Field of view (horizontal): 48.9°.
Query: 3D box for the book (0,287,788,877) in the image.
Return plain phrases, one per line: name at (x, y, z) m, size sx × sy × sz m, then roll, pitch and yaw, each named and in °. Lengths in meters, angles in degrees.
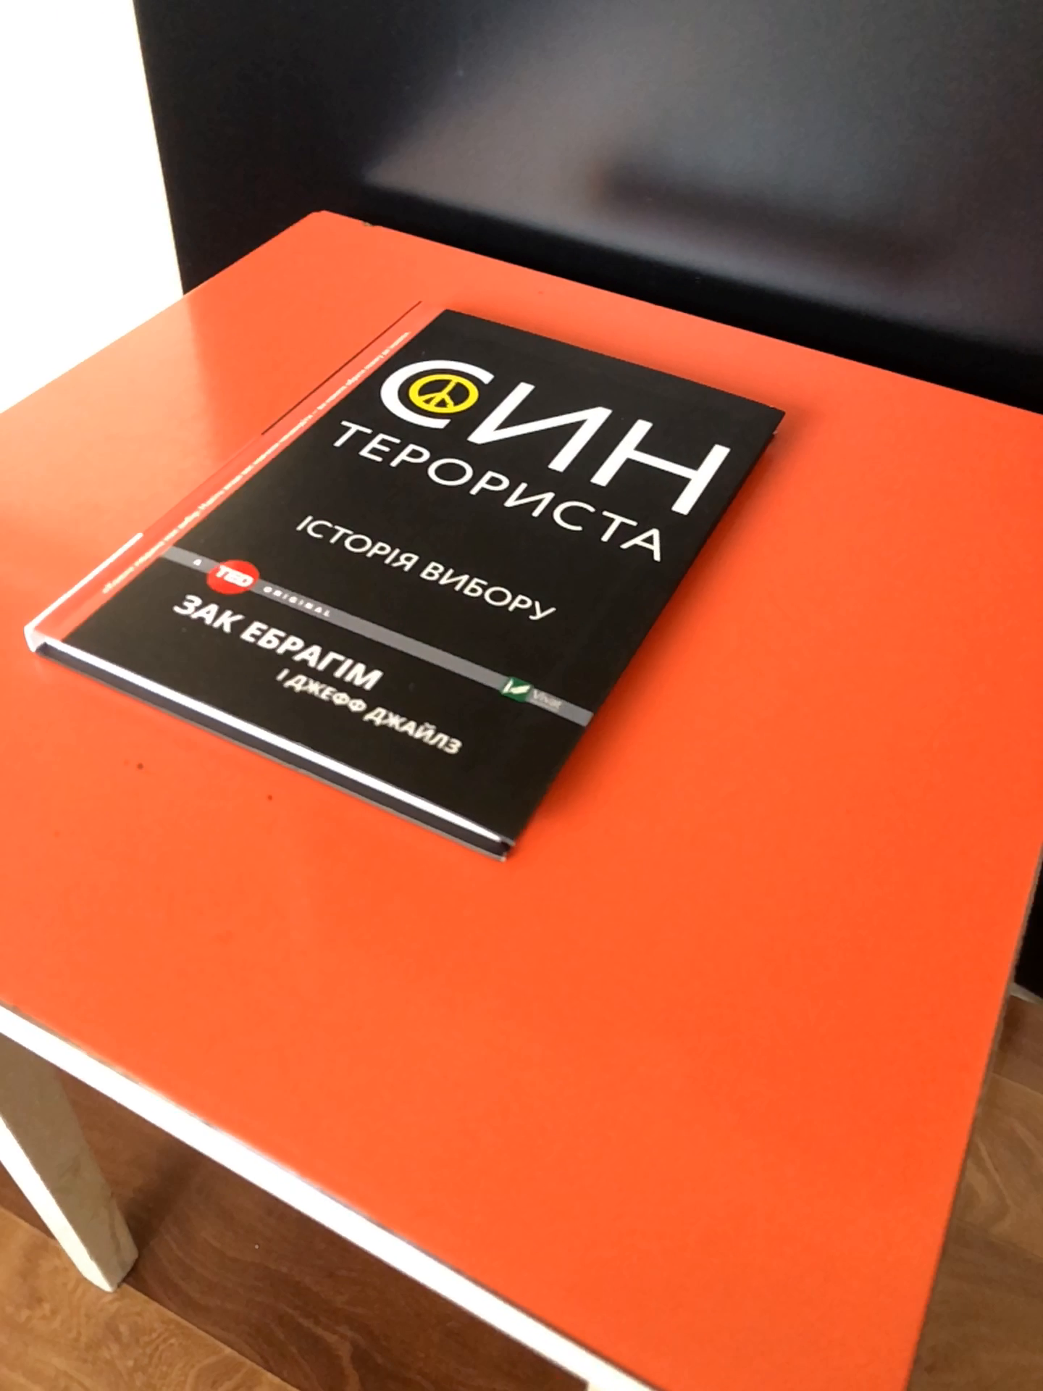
book at (-0.023, -0.053, 0.332) m, size 0.140 × 0.016 × 0.198 m, roll 22°, pitch 49°, yaw 17°
